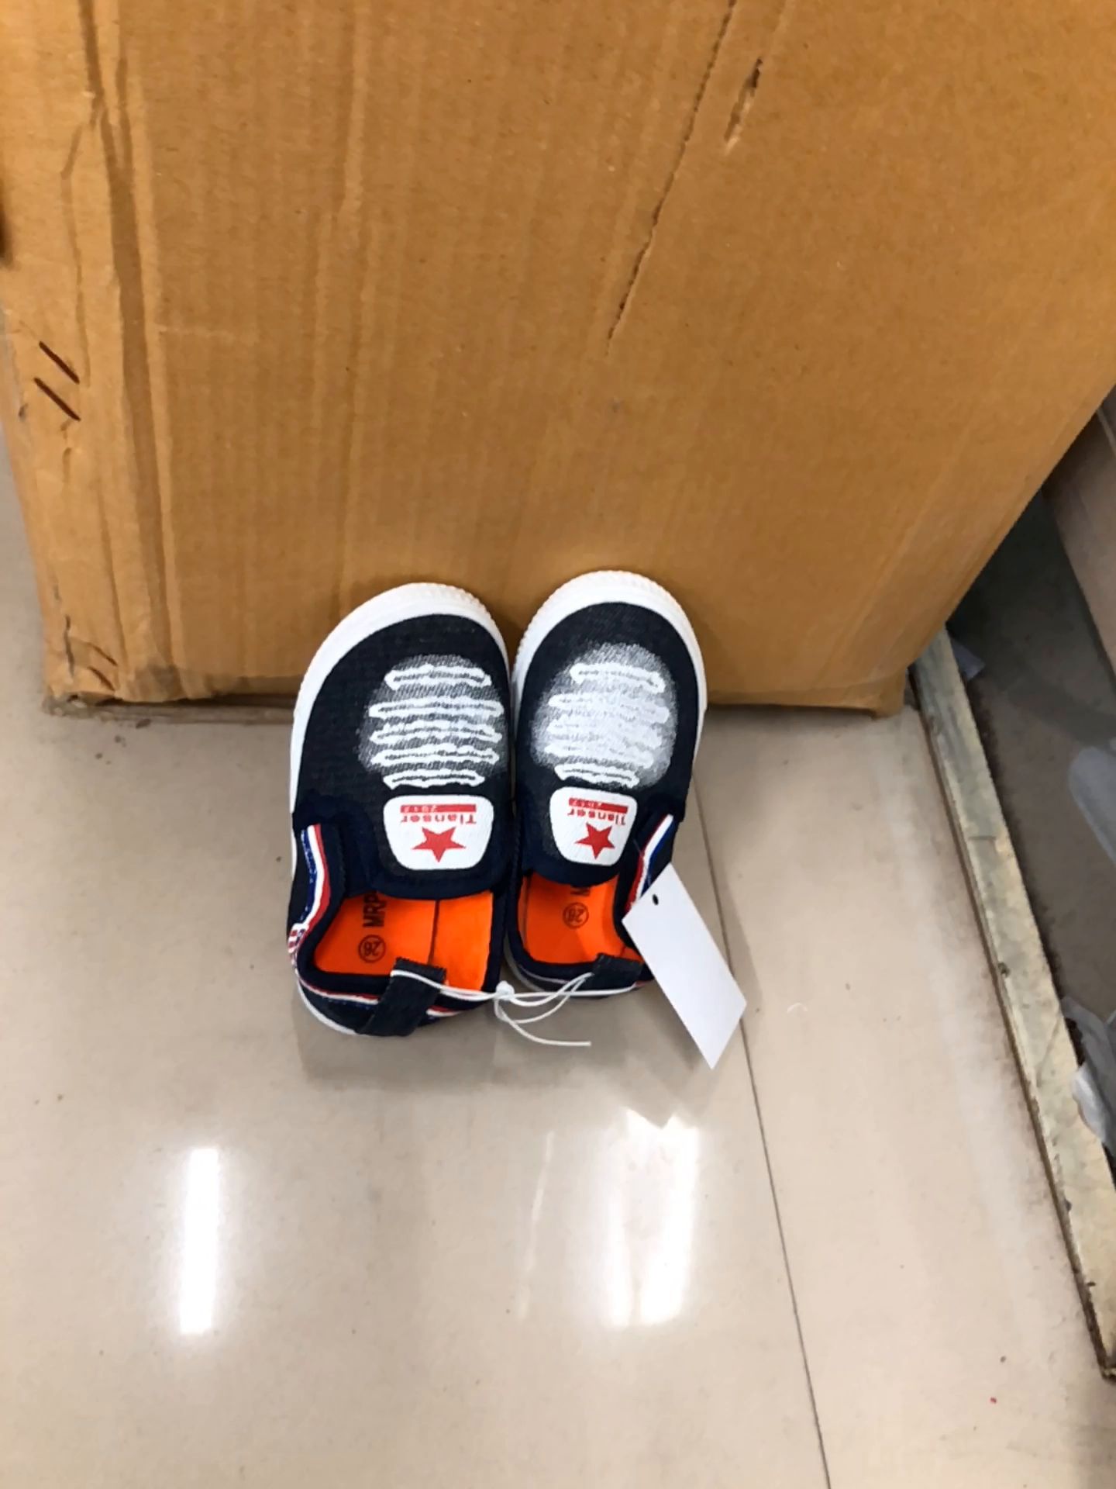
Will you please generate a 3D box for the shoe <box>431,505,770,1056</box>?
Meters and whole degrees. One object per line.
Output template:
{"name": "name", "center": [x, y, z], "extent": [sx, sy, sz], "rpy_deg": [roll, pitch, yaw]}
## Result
{"name": "shoe", "center": [0.007, 0.011, 0.417], "extent": [0.080, 0.159, 0.081], "rpy_deg": [6, 18, -9]}
